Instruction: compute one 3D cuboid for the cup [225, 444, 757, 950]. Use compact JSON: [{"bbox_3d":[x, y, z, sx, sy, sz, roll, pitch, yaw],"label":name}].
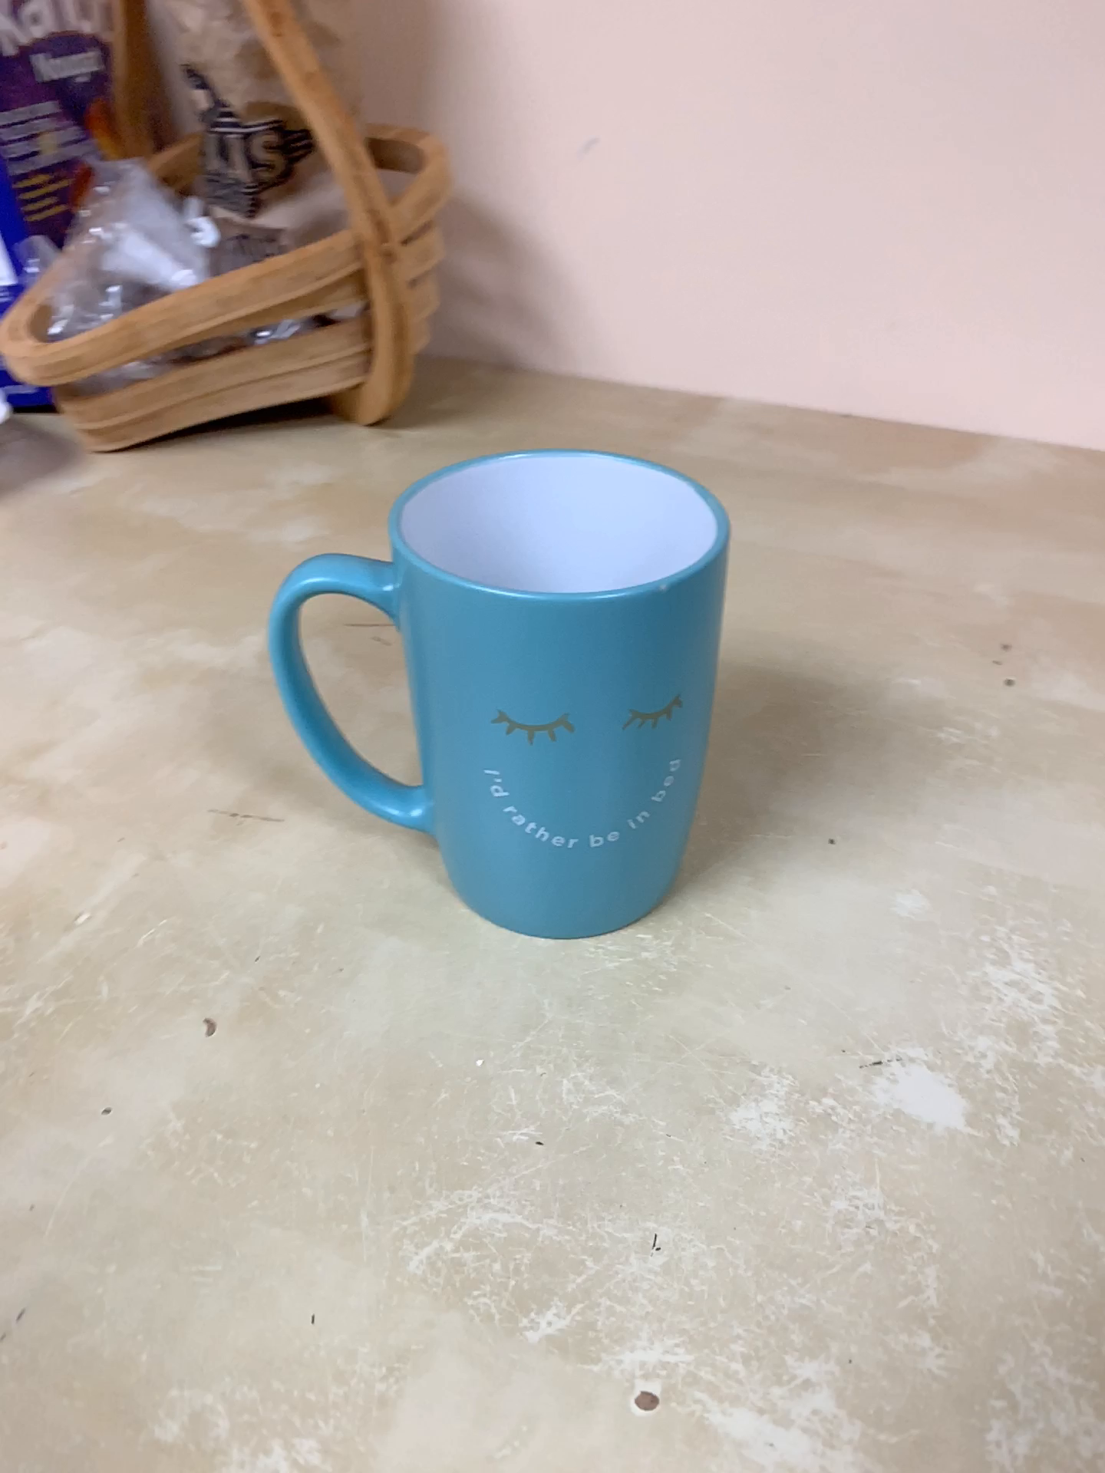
[{"bbox_3d":[-0.013,-0.012,0.329,0.121,0.114,0.092,0,36,2],"label":"cup"}]
